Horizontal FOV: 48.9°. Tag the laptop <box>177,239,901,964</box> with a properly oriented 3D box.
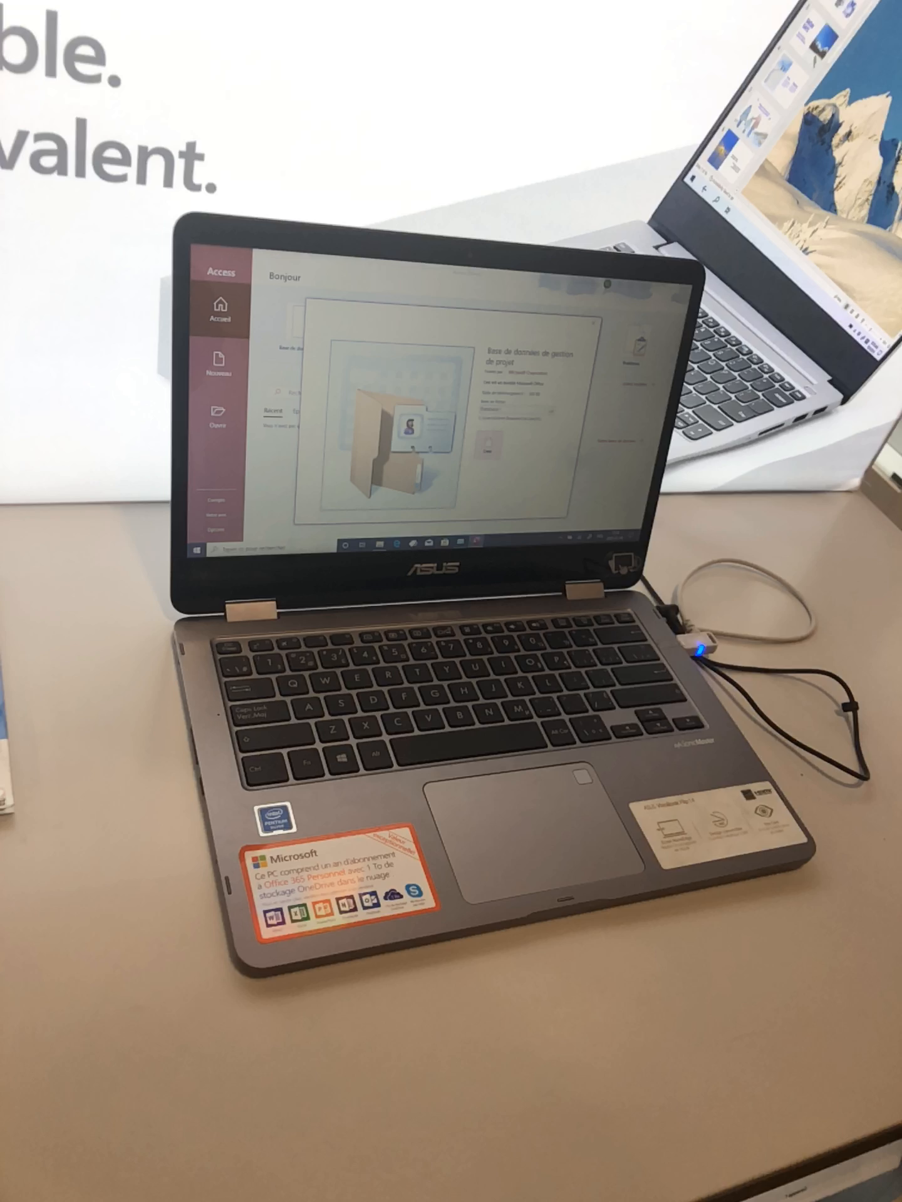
[{"bbox_3d":[0.039,-0.021,0.521,0.312,0.214,0.273,-3,41,-23],"label":"laptop"}]
